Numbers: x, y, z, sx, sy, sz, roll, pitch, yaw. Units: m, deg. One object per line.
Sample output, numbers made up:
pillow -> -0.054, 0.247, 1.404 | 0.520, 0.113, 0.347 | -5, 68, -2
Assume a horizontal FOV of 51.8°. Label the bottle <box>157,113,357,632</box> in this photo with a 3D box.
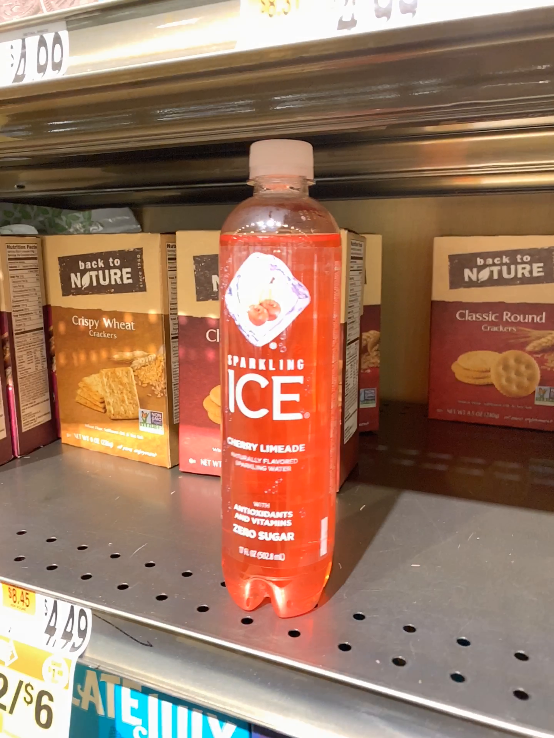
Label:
bottle -> -0.005, 0.003, 0.264 | 0.065, 0.211, 0.060 | -1, 13, 0
